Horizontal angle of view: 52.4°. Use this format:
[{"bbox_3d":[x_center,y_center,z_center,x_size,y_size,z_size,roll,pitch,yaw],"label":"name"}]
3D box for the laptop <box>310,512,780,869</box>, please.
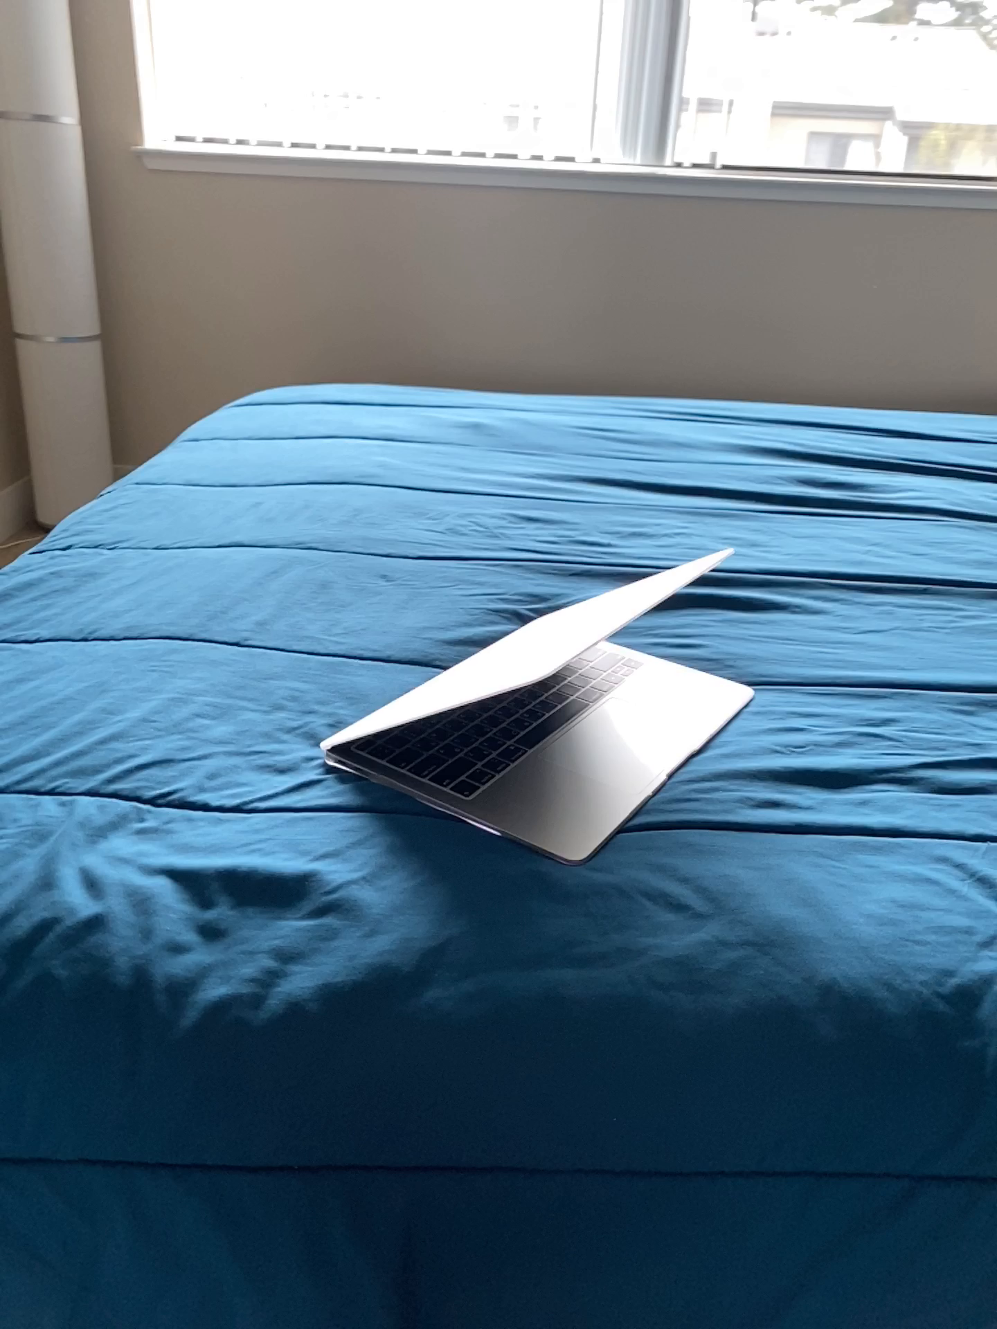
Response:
[{"bbox_3d":[0.048,-0.005,0.784,0.219,0.106,0.312,20,31,28],"label":"laptop"}]
